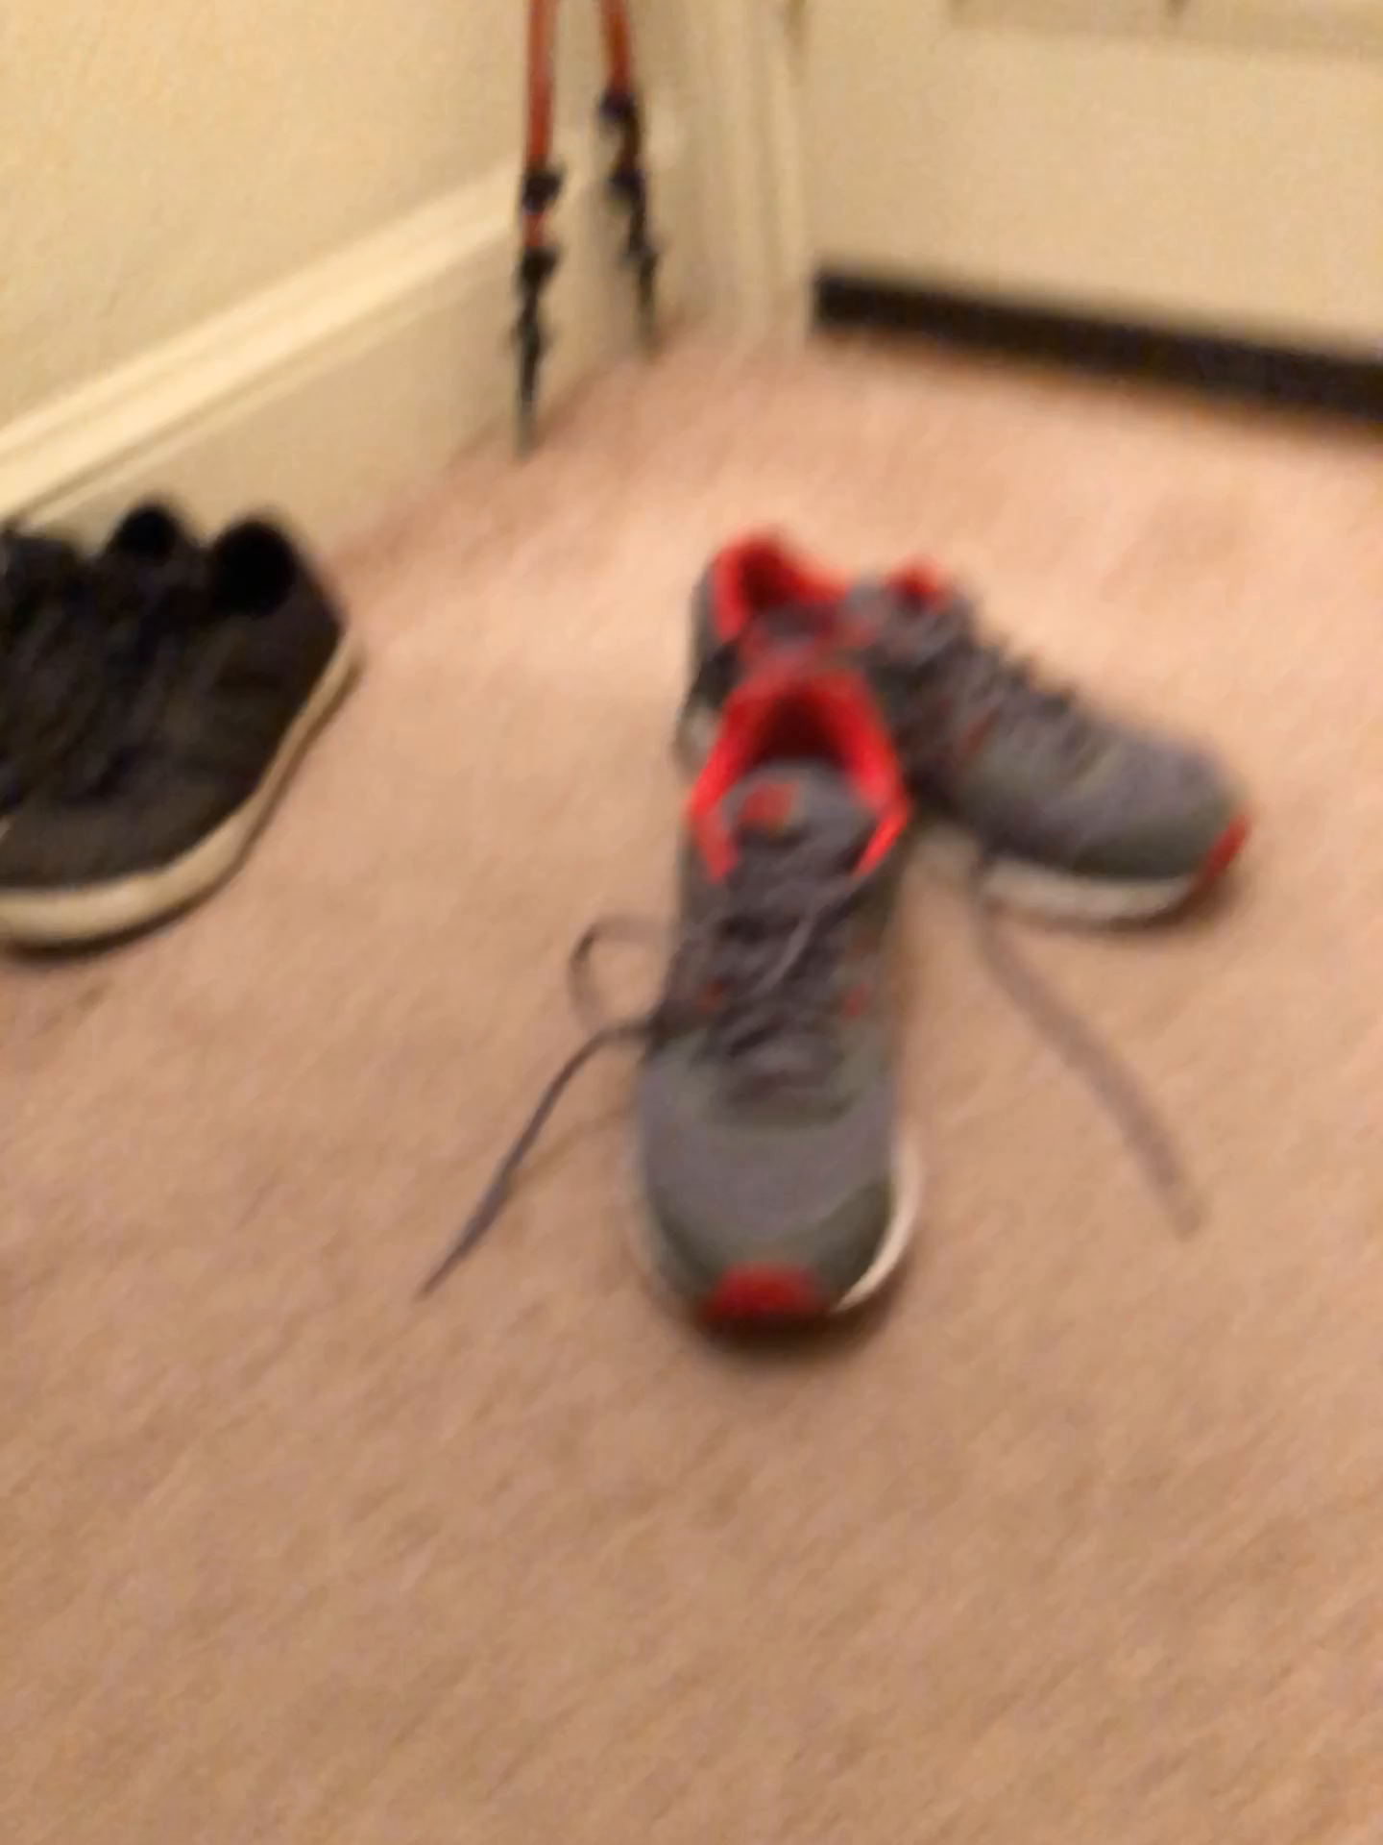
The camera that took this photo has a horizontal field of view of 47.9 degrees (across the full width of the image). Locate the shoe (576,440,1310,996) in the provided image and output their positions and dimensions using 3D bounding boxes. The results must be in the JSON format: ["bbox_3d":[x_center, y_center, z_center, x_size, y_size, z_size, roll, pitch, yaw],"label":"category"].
[{"bbox_3d":[0.102,-0.104,0.705,0.297,0.119,0.114,28,54,32],"label":"shoe"}]

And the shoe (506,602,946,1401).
[{"bbox_3d":[0.032,0.011,0.596,0.113,0.119,0.299,2,44,11],"label":"shoe"}]
